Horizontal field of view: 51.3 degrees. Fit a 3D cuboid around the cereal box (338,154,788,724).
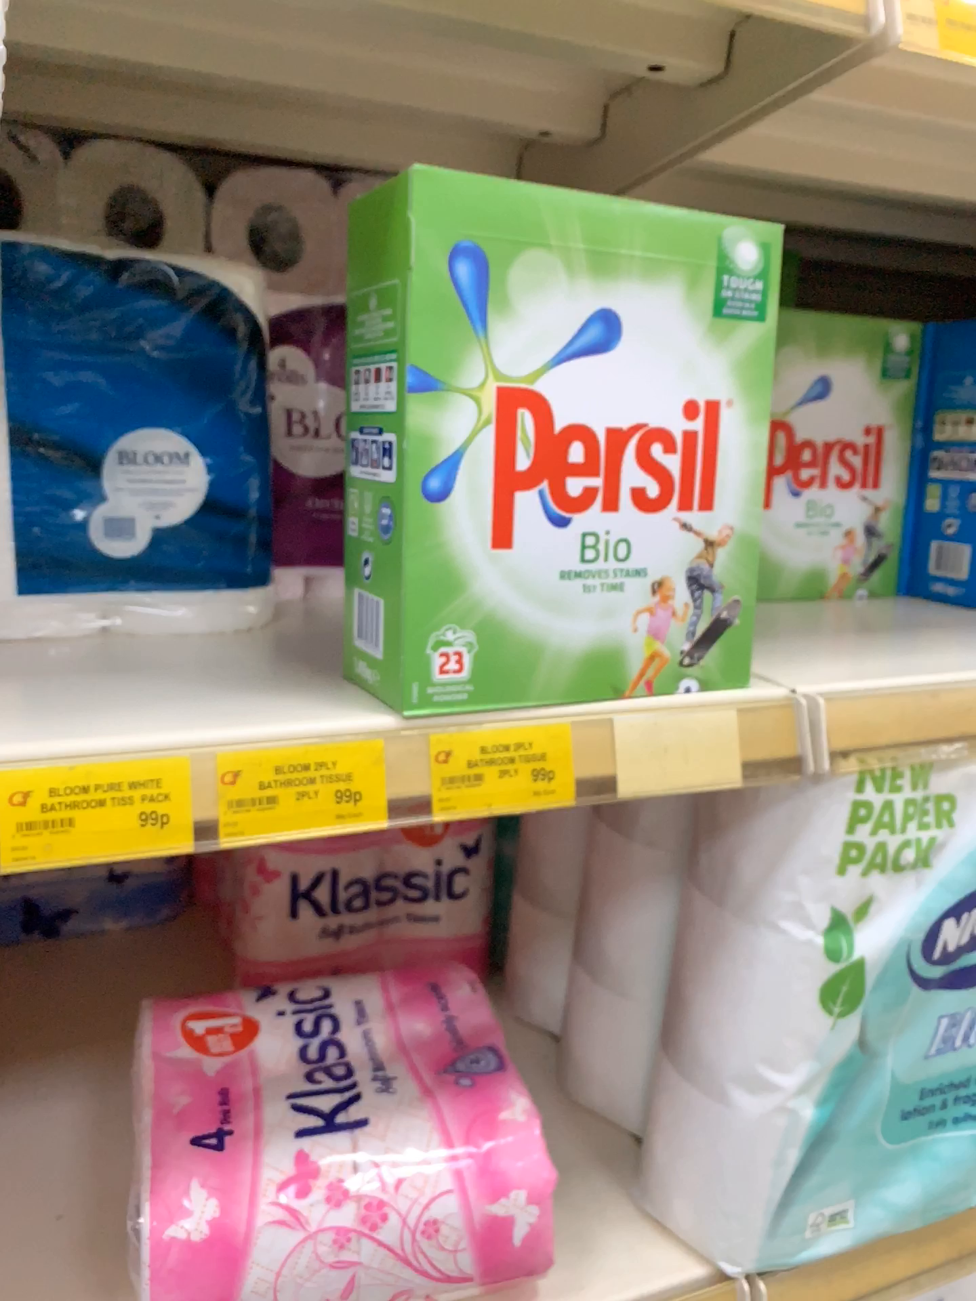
[{"bbox_3d":[0.034,-0.099,0.516,0.200,0.239,0.090,-3,12,-25],"label":"cereal box"}]
